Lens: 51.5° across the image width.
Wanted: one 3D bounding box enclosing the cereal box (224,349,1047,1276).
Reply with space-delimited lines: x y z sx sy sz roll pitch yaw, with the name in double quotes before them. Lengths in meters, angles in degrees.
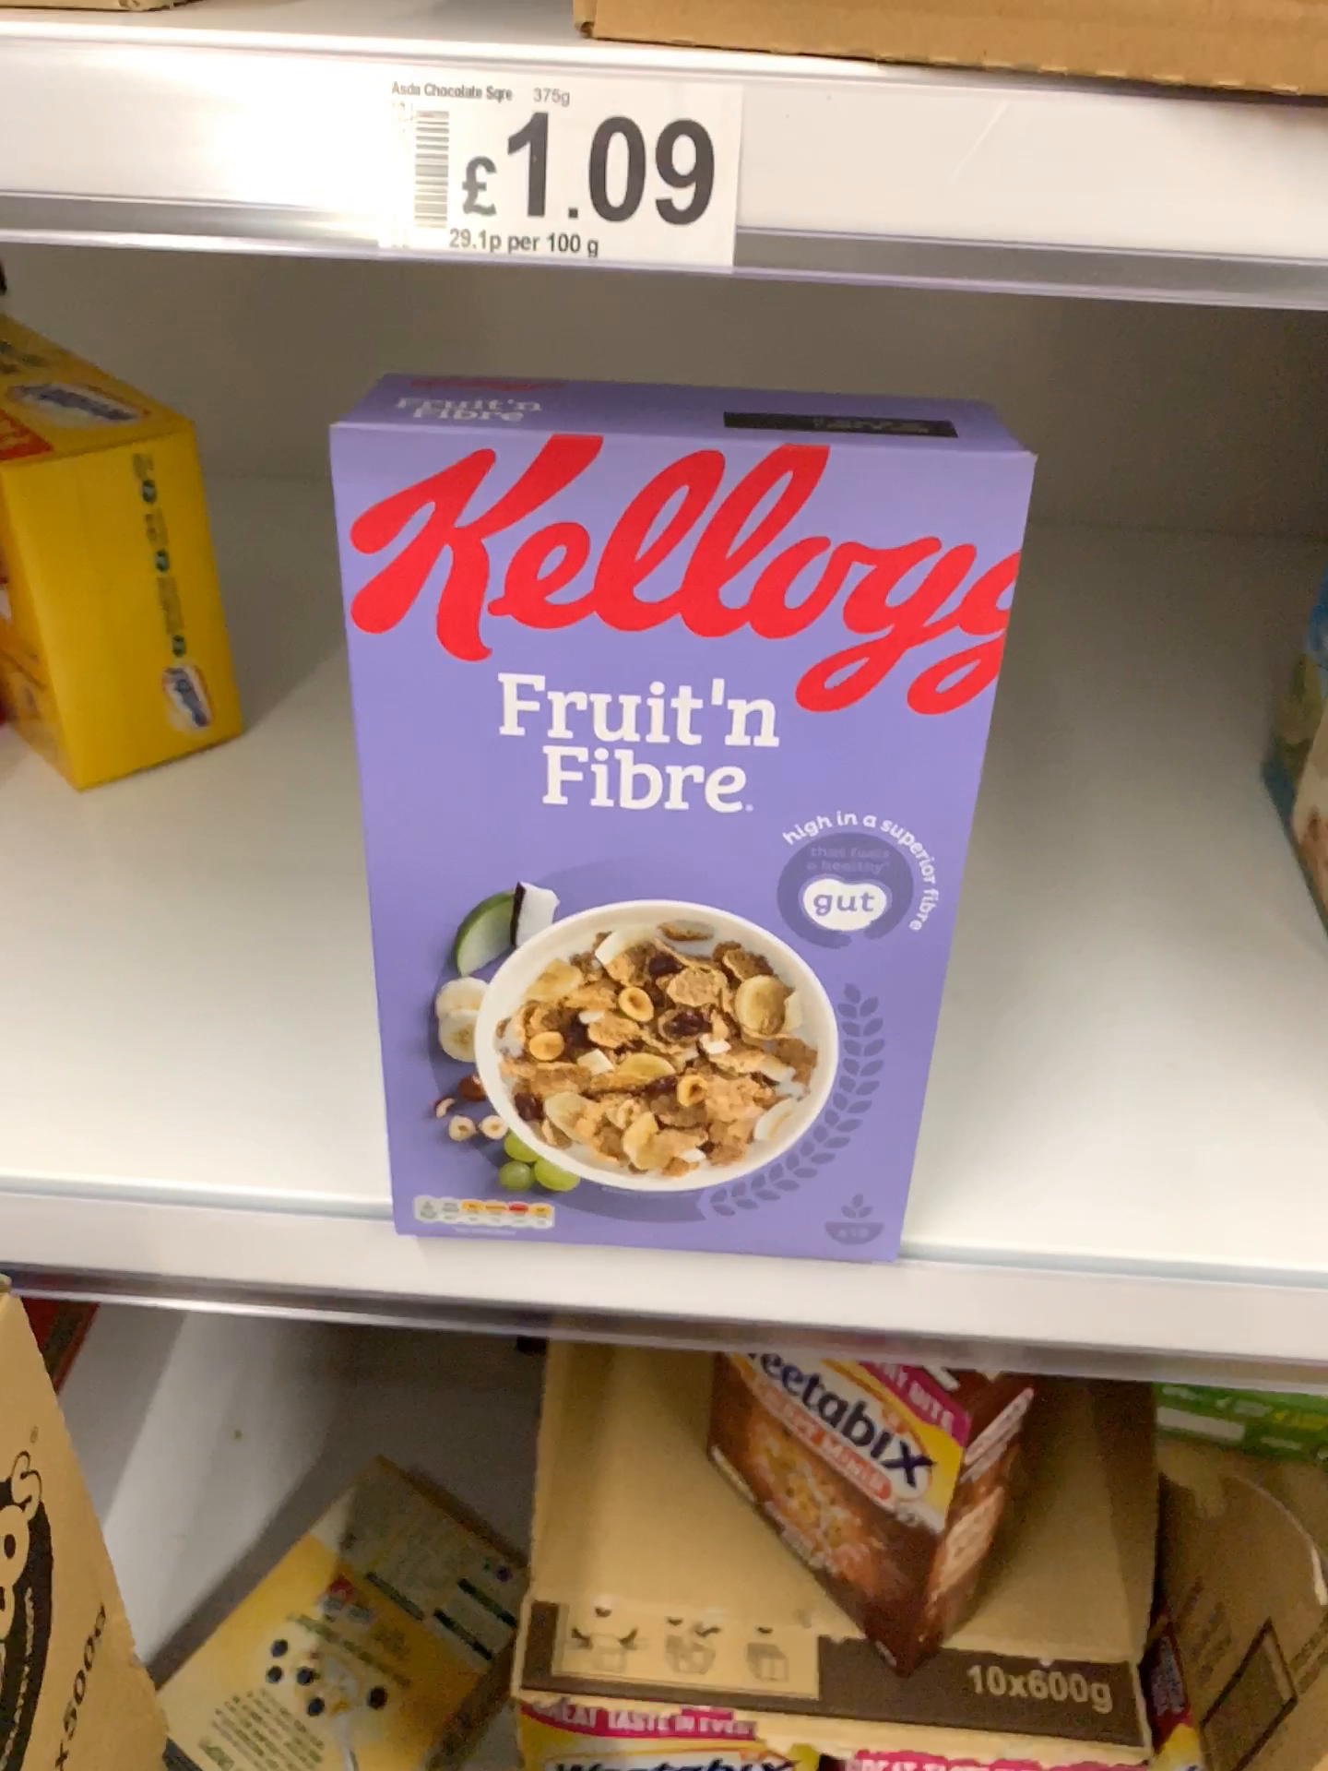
"cereal box" -0.012 -0.010 0.463 0.210 0.297 0.081 3 32 1
